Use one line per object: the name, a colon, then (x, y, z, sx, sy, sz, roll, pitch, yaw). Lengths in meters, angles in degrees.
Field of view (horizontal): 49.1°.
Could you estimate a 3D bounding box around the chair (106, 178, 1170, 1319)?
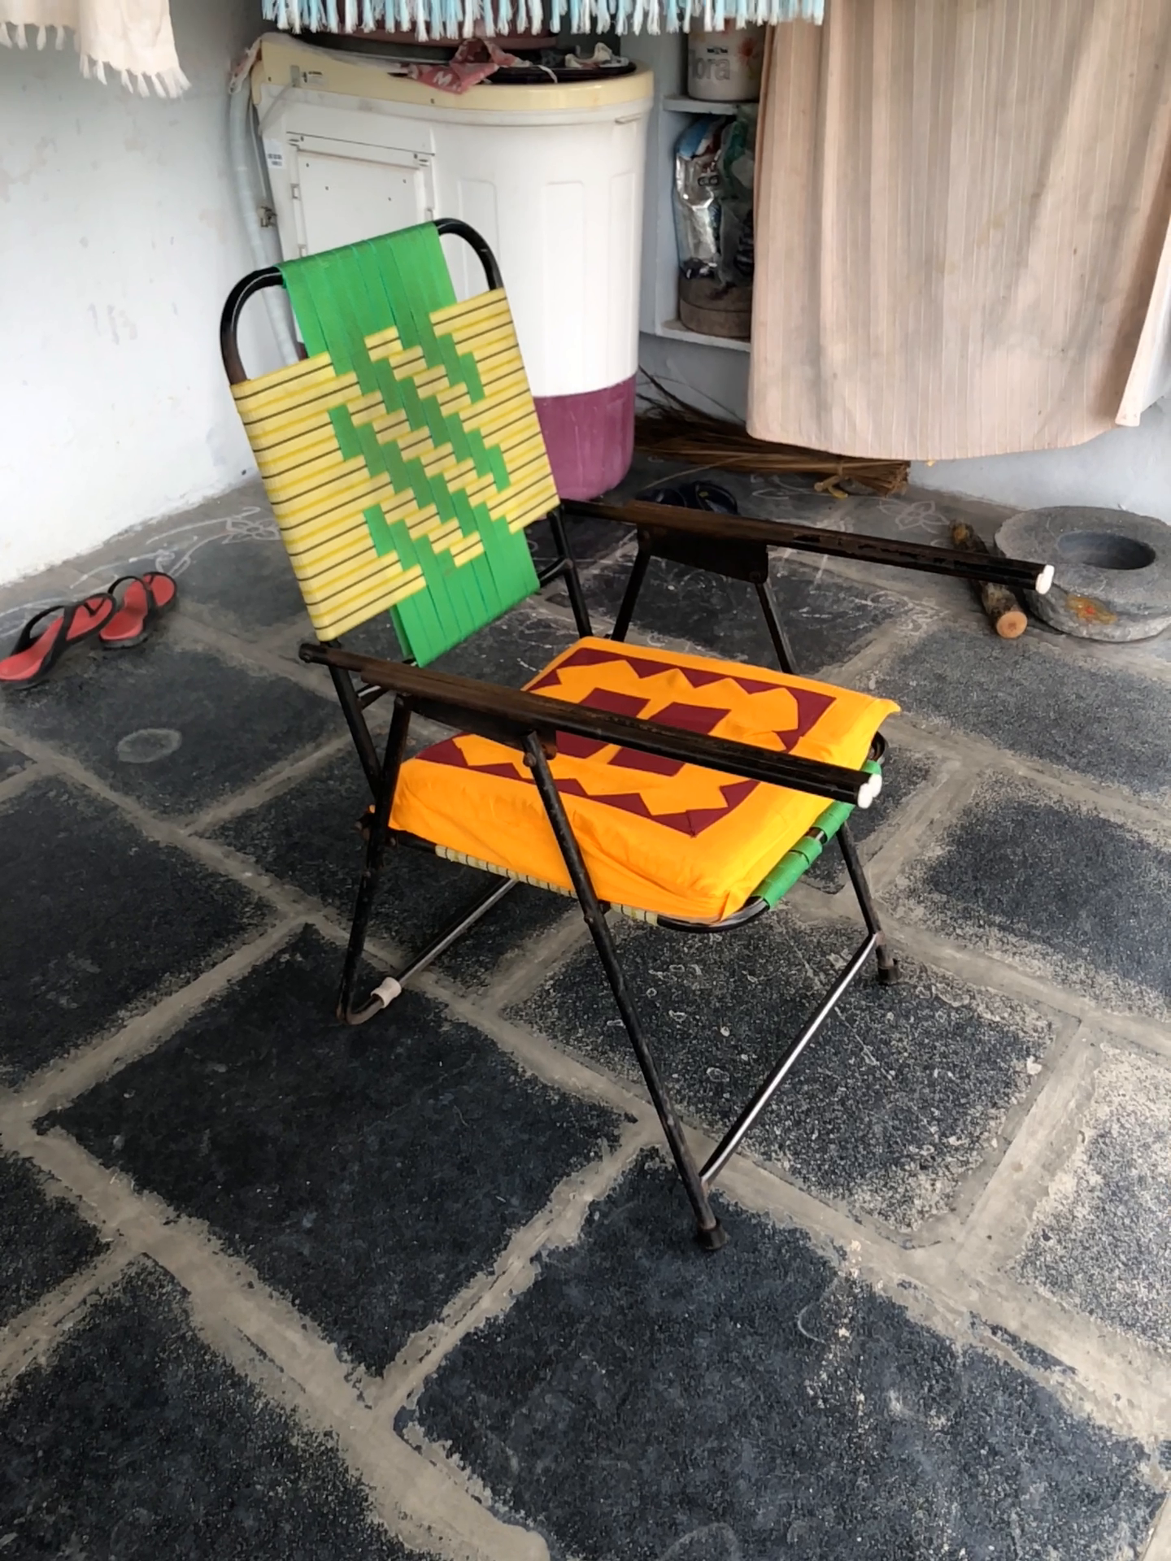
chair: (0.084, -0.106, 1.340, 0.680, 0.826, 0.663, 19, 39, 28)
